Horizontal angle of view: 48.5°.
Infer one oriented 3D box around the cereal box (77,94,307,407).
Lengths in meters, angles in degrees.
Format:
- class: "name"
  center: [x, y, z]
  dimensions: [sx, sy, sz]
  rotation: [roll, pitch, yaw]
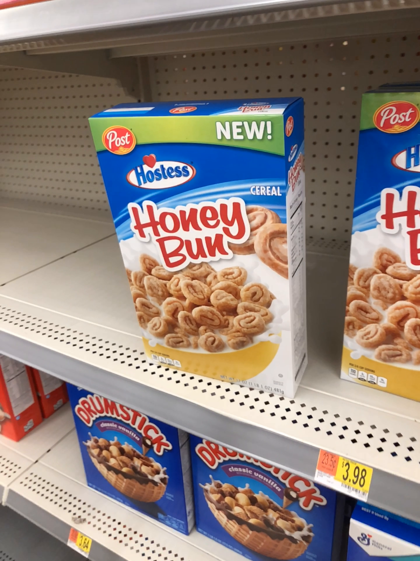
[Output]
- class: "cereal box"
  center: [-0.005, -0.024, 0.495]
  dimensions: [0.200, 0.309, 0.060]
  rotation: [8, 34, 26]
